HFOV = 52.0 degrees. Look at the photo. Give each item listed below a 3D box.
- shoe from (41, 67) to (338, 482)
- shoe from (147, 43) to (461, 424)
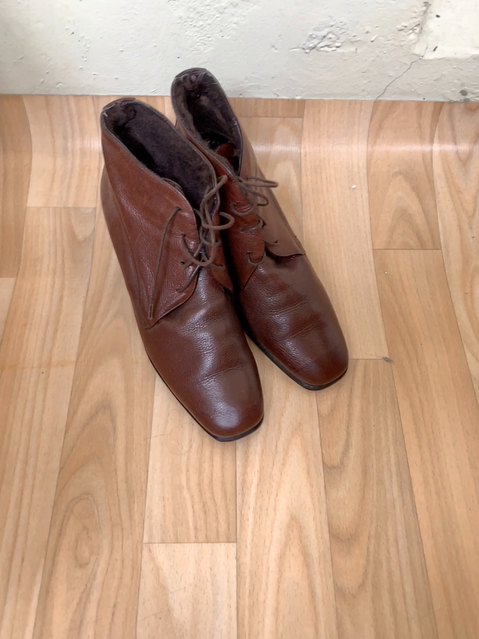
[{"bbox_3d":[-0.039,-0.024,0.330,0.080,0.150,0.220,-22,66,-12],"label":"shoe"},{"bbox_3d":[0.026,-0.057,0.360,0.080,0.150,0.220,-27,67,-14],"label":"shoe"}]
